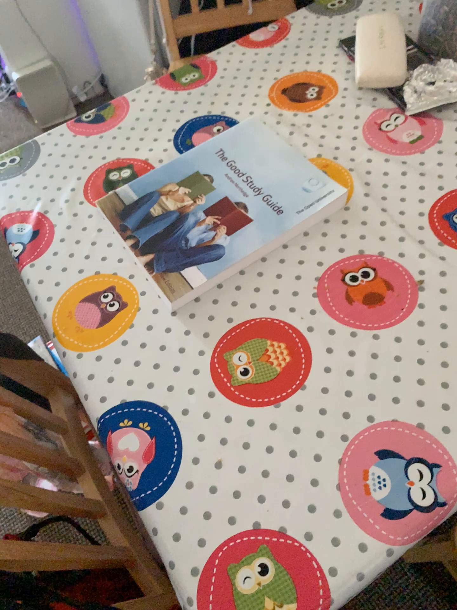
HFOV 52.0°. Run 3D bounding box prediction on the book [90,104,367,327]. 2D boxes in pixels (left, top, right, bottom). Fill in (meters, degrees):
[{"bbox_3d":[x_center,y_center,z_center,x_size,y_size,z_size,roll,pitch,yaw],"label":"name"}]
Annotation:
[{"bbox_3d":[-0.006,-0.124,0.572,0.260,0.030,0.211,-32,60,-11],"label":"book"}]
